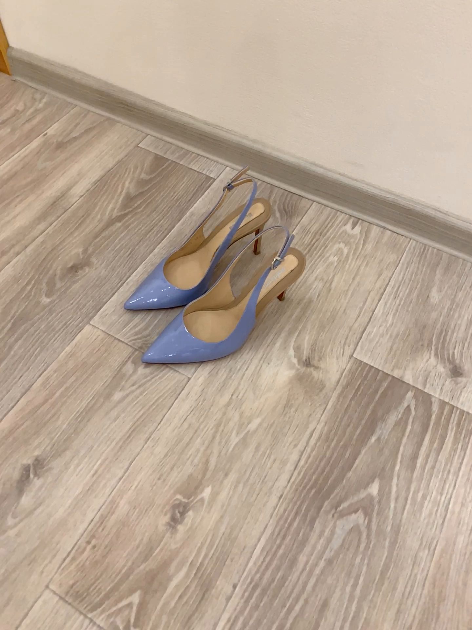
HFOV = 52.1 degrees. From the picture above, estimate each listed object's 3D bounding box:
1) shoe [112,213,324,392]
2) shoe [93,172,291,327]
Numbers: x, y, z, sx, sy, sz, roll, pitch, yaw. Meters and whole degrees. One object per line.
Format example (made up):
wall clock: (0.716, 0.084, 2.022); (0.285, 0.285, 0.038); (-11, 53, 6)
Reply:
shoe: (-0.018, -0.018, 0.593); (0.230, 0.100, 0.090); (-28, 62, -19)
shoe: (-0.054, -0.089, 0.644); (0.230, 0.100, 0.090); (-23, 60, -16)
